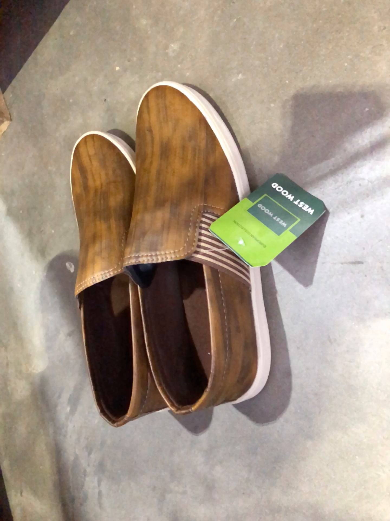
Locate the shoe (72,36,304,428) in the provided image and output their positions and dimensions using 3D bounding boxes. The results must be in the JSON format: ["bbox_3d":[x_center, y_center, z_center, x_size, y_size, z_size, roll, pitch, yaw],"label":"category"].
[{"bbox_3d":[-0.010,-0.019,0.382,0.110,0.100,0.290,-19,78,35],"label":"shoe"}]

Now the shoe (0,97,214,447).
[{"bbox_3d":[-0.090,0.009,0.418,0.100,0.100,0.290,-25,75,34],"label":"shoe"}]
